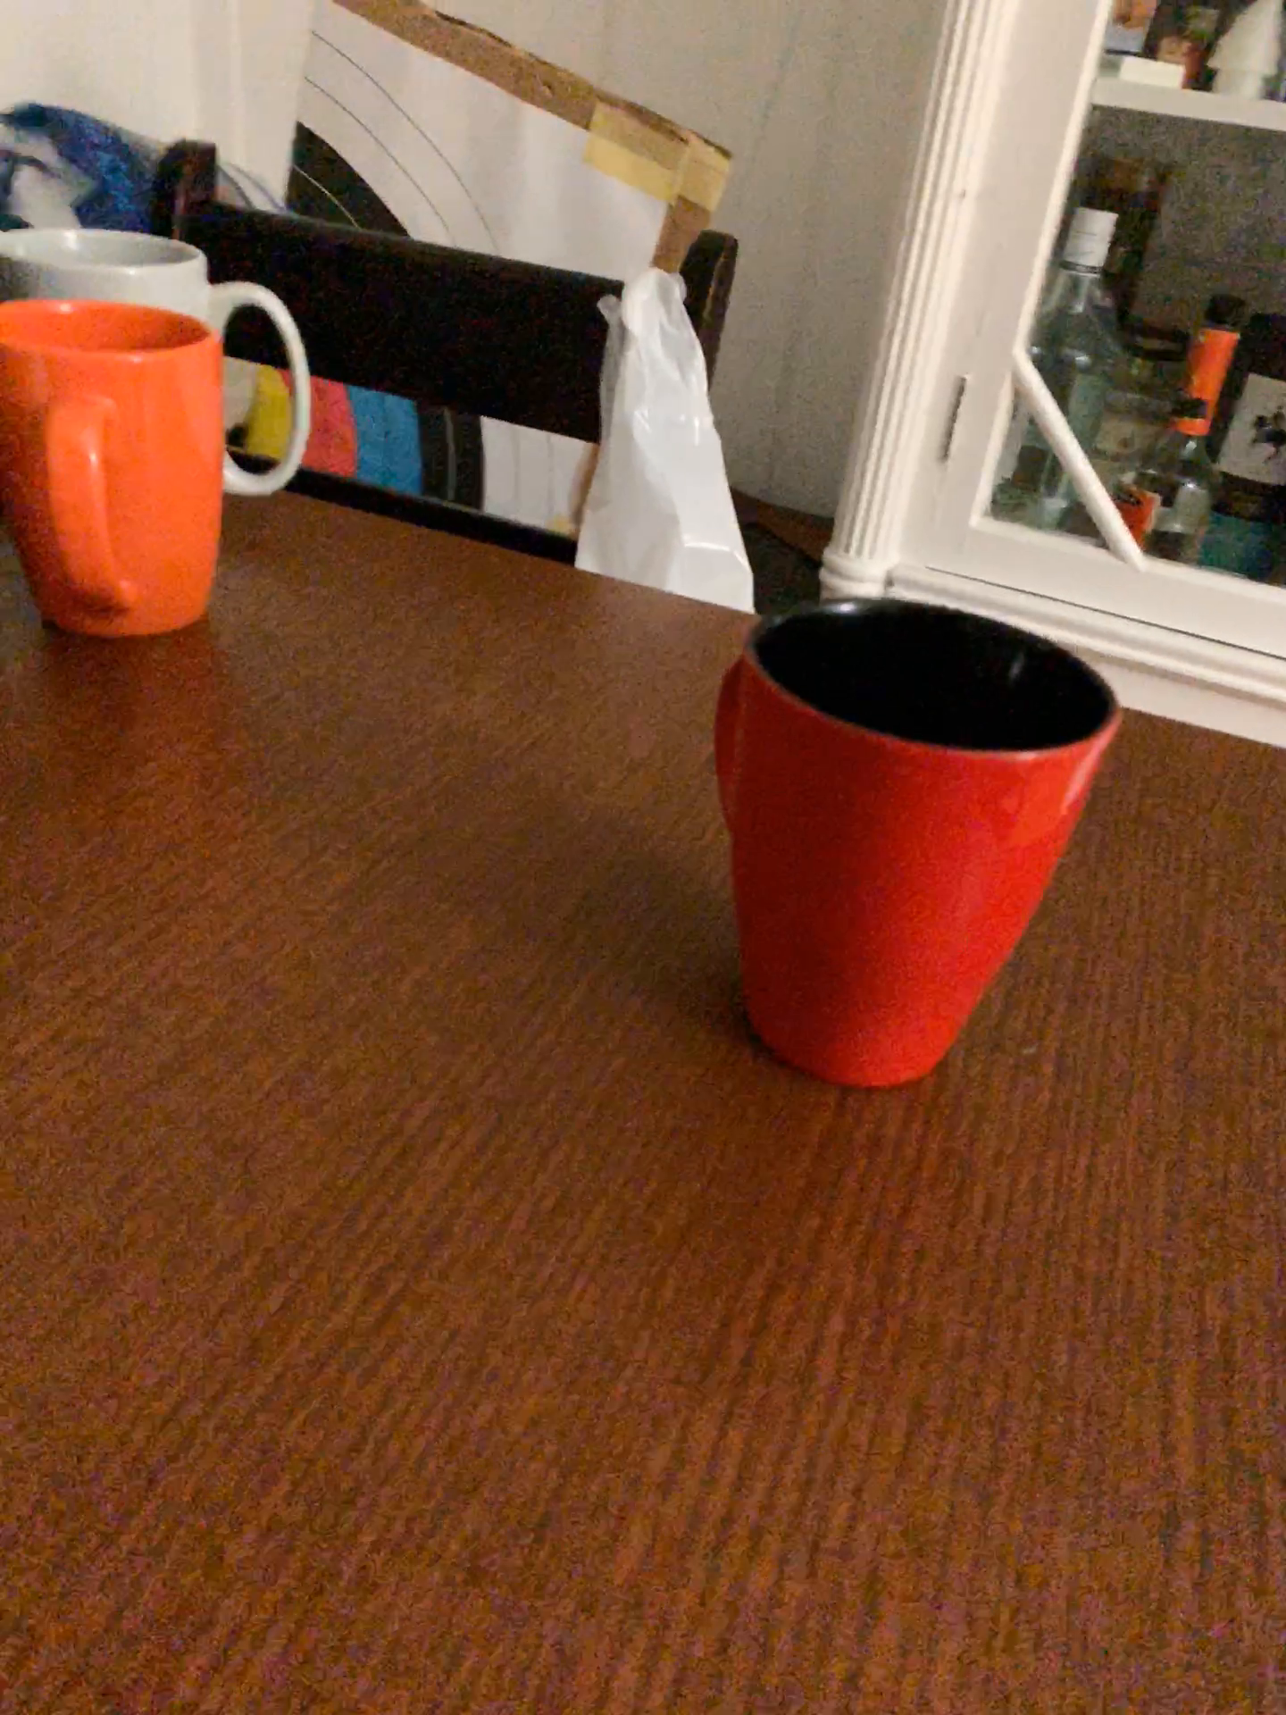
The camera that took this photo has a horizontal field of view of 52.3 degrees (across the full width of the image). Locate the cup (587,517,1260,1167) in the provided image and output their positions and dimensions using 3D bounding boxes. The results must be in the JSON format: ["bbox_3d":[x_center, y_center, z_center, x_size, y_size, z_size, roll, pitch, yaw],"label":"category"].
[{"bbox_3d":[0.055,-0.014,0.328,0.090,0.099,0.131,-8,35,-23],"label":"cup"}]
